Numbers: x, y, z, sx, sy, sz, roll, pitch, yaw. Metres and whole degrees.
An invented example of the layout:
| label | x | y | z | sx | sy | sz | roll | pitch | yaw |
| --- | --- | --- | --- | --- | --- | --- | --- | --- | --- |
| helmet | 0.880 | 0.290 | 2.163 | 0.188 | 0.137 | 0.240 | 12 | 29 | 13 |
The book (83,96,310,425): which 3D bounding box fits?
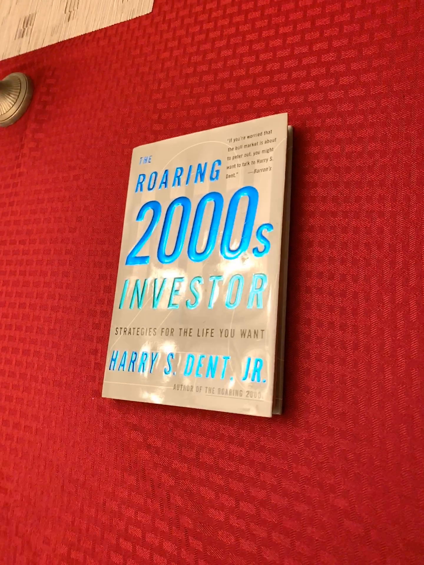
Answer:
| label | x | y | z | sx | sy | sz | roll | pitch | yaw |
| --- | --- | --- | --- | --- | --- | --- | --- | --- | --- |
| book | -0.011 | -0.018 | 0.362 | 0.171 | 0.040 | 0.240 | -3 | 75 | 28 |
